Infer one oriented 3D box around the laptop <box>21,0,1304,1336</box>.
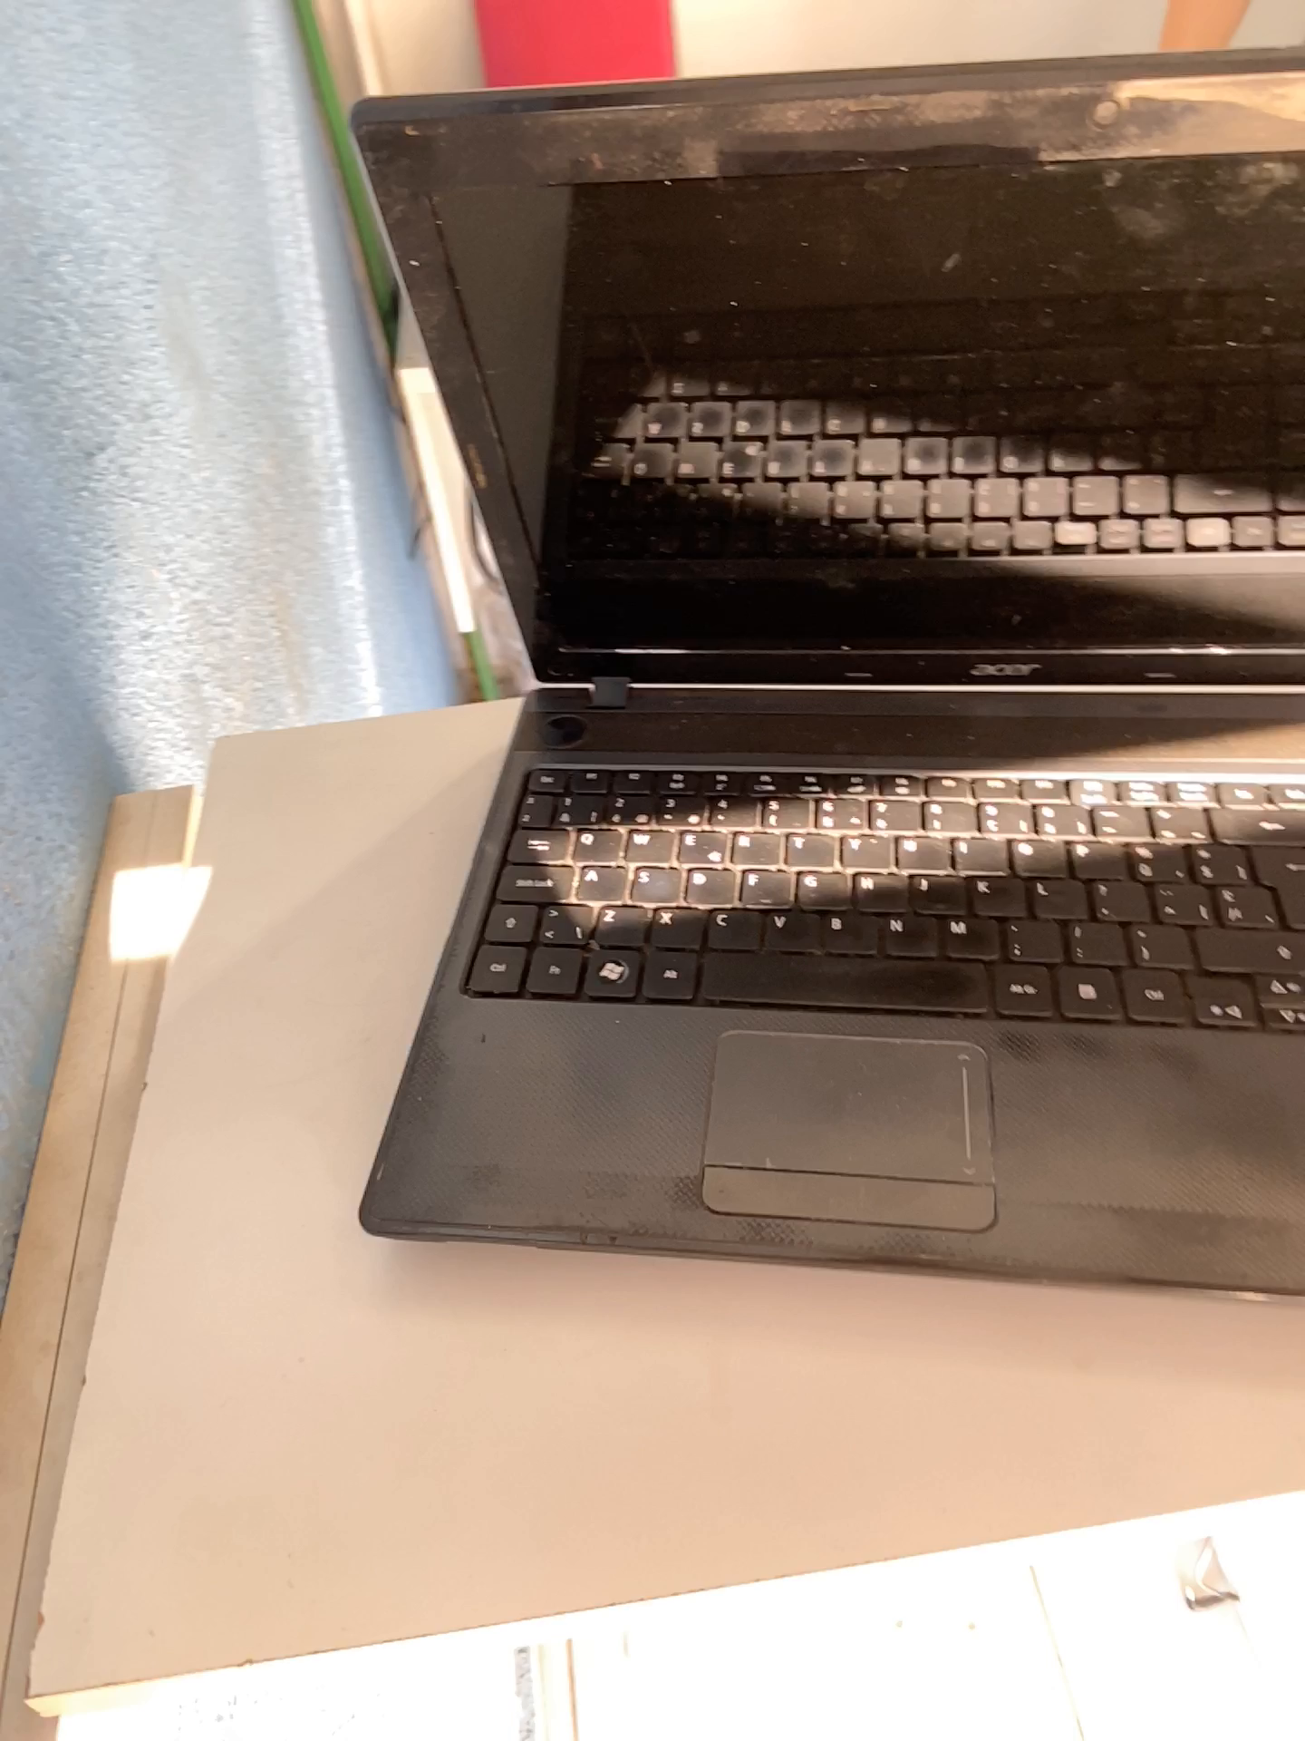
[{"bbox_3d":[0.109,-0.067,0.360,0.374,0.234,0.255,1,44,9],"label":"laptop"}]
